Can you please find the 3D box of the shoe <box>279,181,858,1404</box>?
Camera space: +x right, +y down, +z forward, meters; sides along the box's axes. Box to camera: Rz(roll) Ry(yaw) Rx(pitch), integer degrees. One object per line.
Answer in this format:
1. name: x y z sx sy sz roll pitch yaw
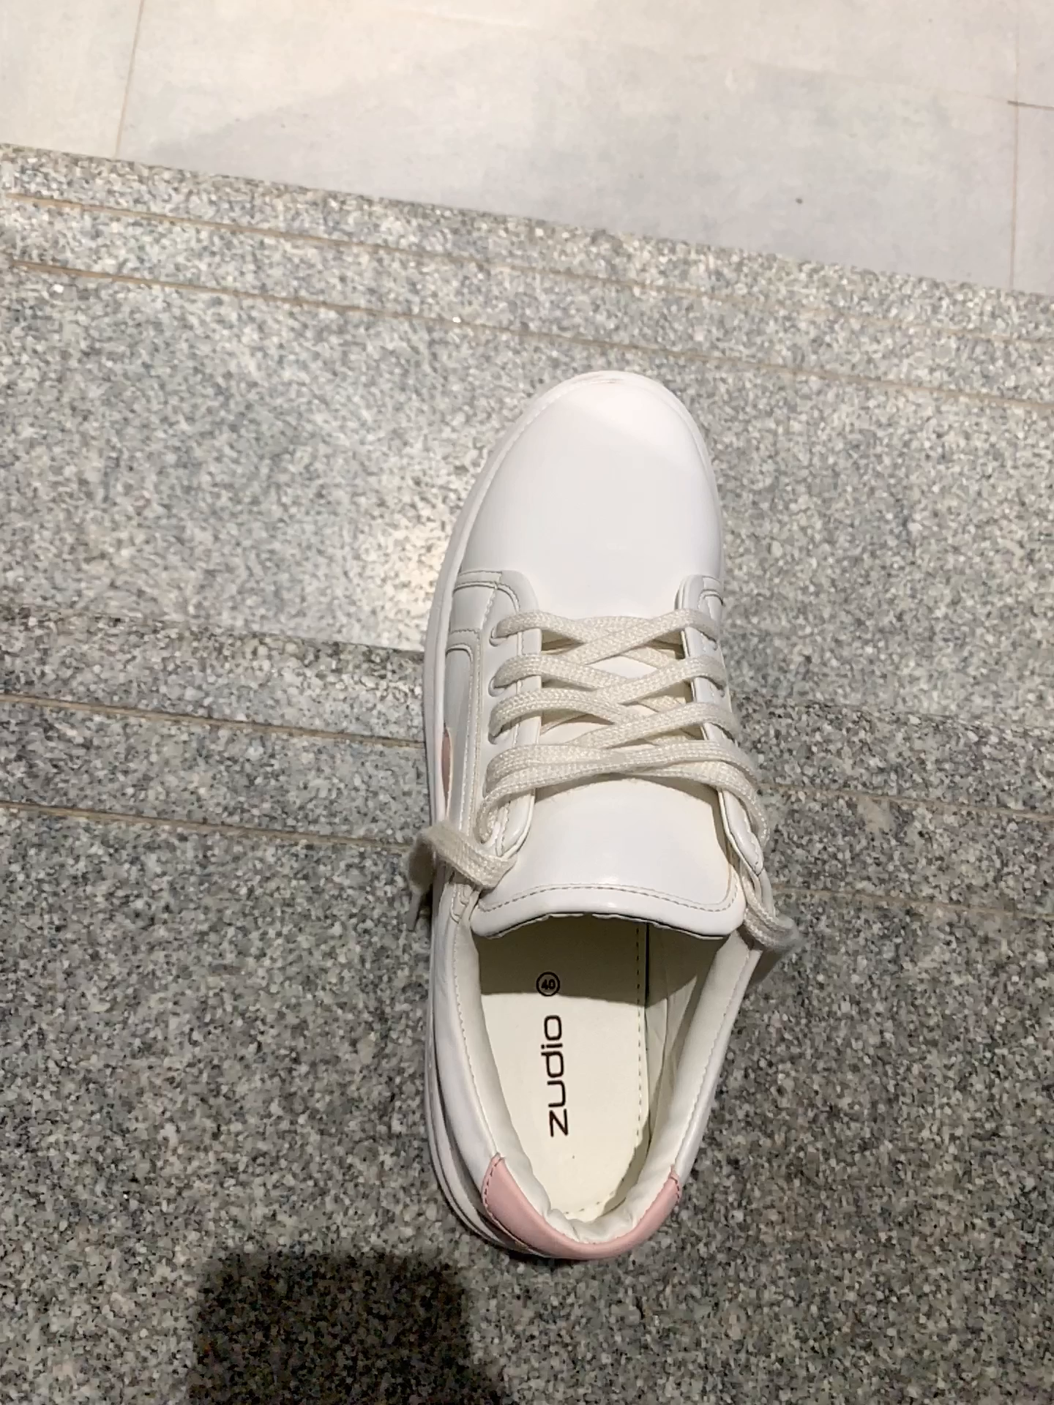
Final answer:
1. shoe: 0.012 0.027 0.306 0.110 0.110 0.290 6 81 -3
